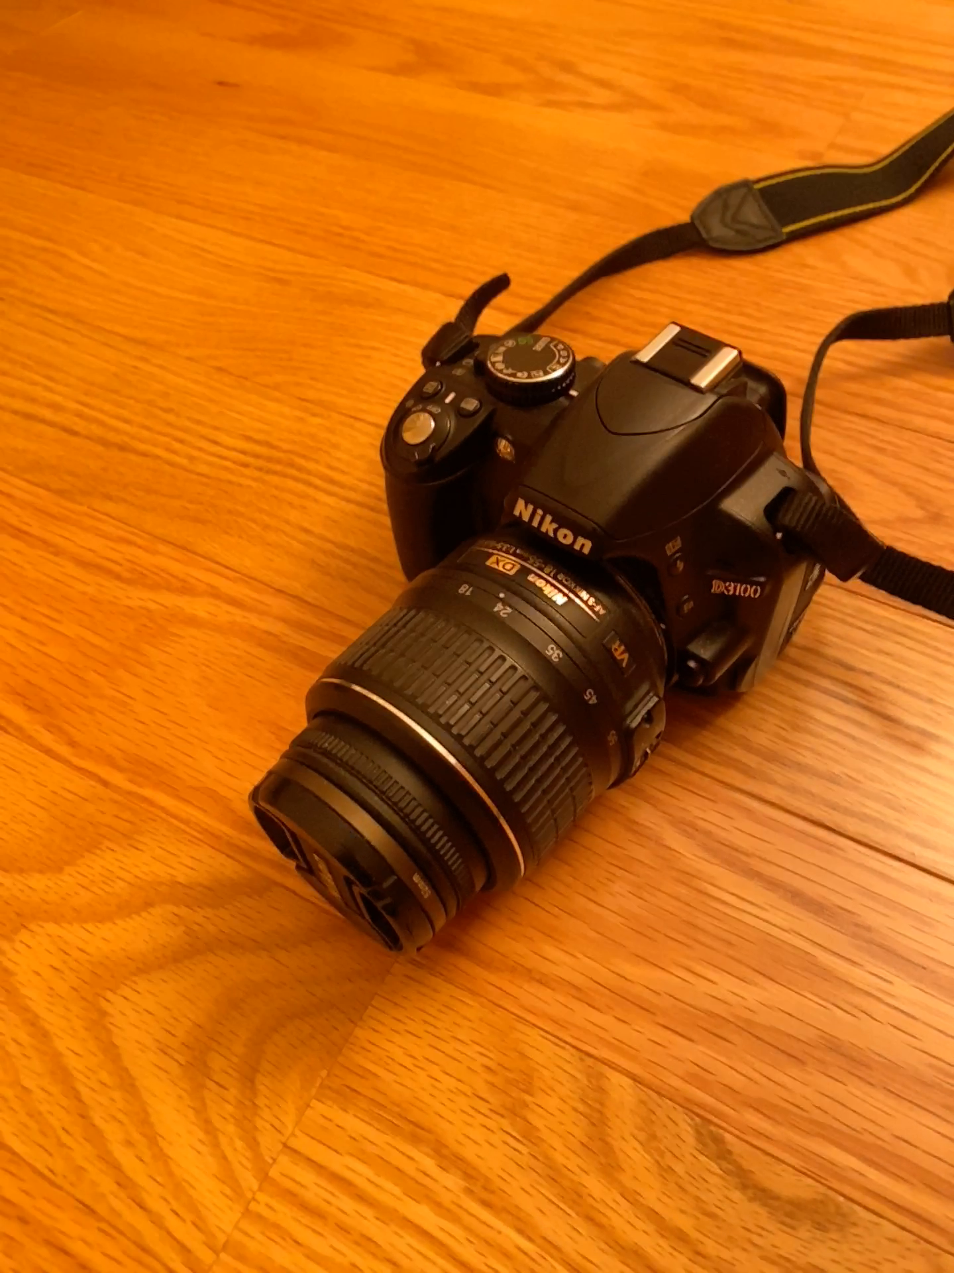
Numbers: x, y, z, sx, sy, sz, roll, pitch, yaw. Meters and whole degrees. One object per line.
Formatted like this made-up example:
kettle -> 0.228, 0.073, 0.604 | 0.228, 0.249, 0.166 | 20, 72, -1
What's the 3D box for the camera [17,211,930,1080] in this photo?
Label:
camera -> 0.007, -0.008, 0.256 | 0.130, 0.099, 0.161 | 30, 60, 24
